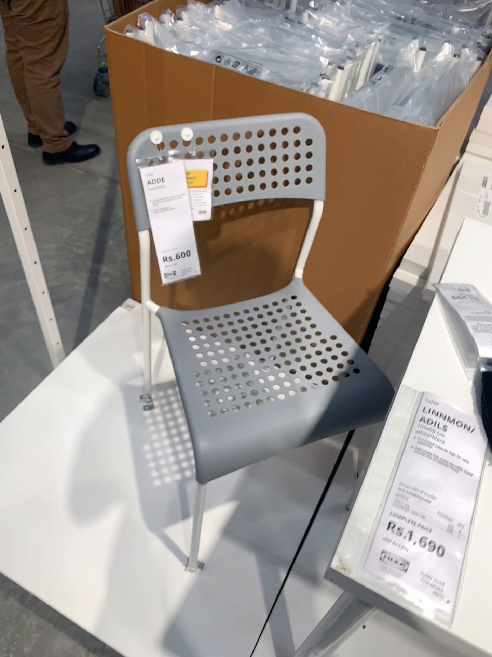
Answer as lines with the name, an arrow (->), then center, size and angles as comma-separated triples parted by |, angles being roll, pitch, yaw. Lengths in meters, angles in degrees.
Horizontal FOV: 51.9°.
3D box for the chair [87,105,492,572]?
chair -> 0.016, 0.033, 0.994 | 0.460, 0.687, 0.502 | -13, 51, -19
